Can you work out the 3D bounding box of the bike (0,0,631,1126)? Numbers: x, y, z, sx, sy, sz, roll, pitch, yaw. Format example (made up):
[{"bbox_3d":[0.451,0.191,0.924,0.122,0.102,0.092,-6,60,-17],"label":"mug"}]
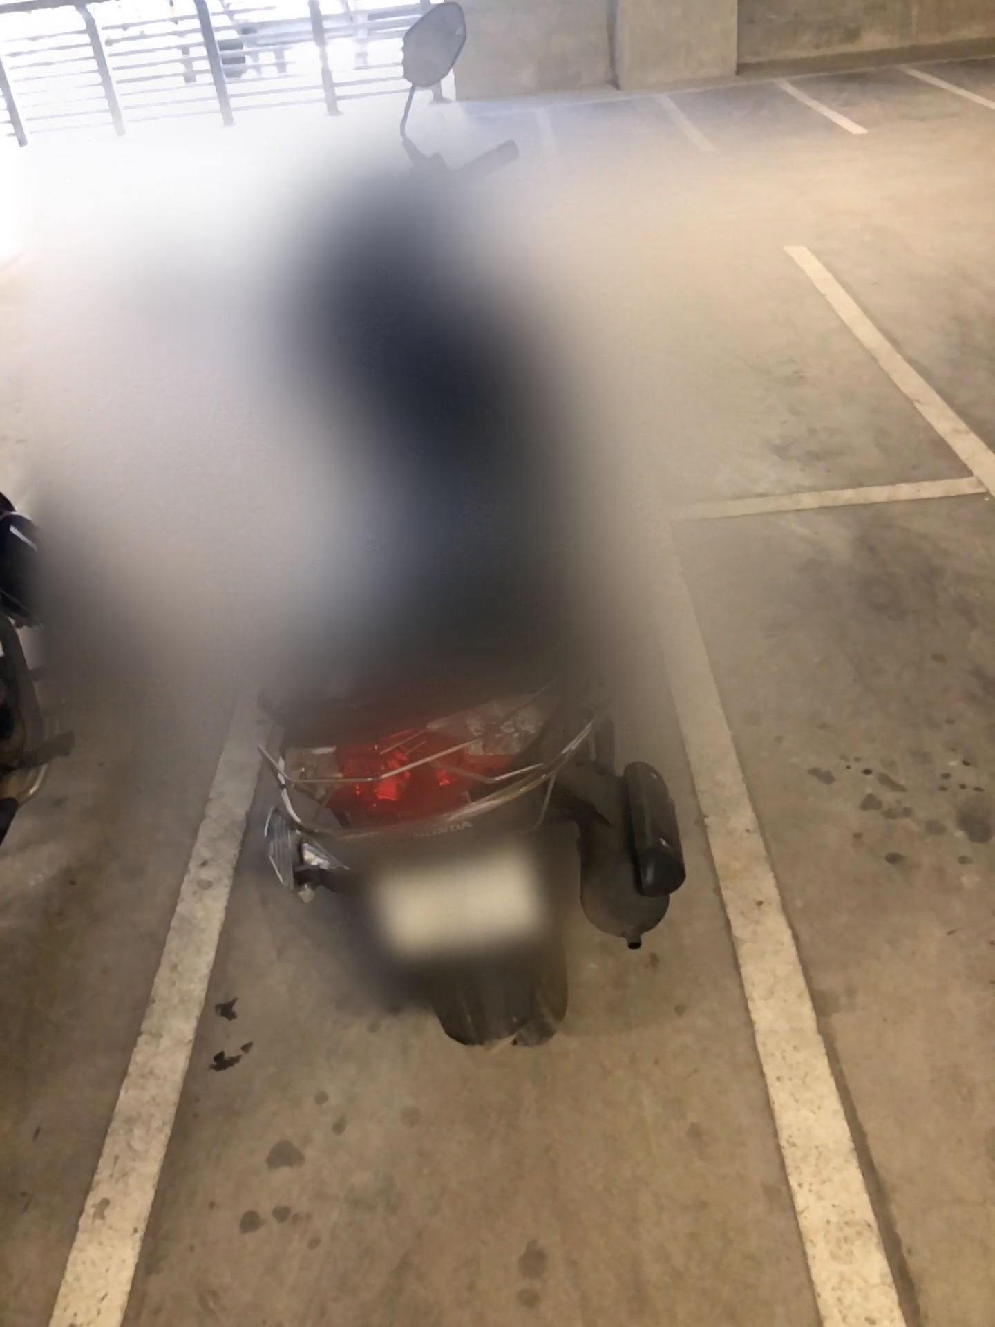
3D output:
[{"bbox_3d":[-0.216,-0.425,2.135,0.582,1.187,1.961,-7,39,0],"label":"bike"}]
